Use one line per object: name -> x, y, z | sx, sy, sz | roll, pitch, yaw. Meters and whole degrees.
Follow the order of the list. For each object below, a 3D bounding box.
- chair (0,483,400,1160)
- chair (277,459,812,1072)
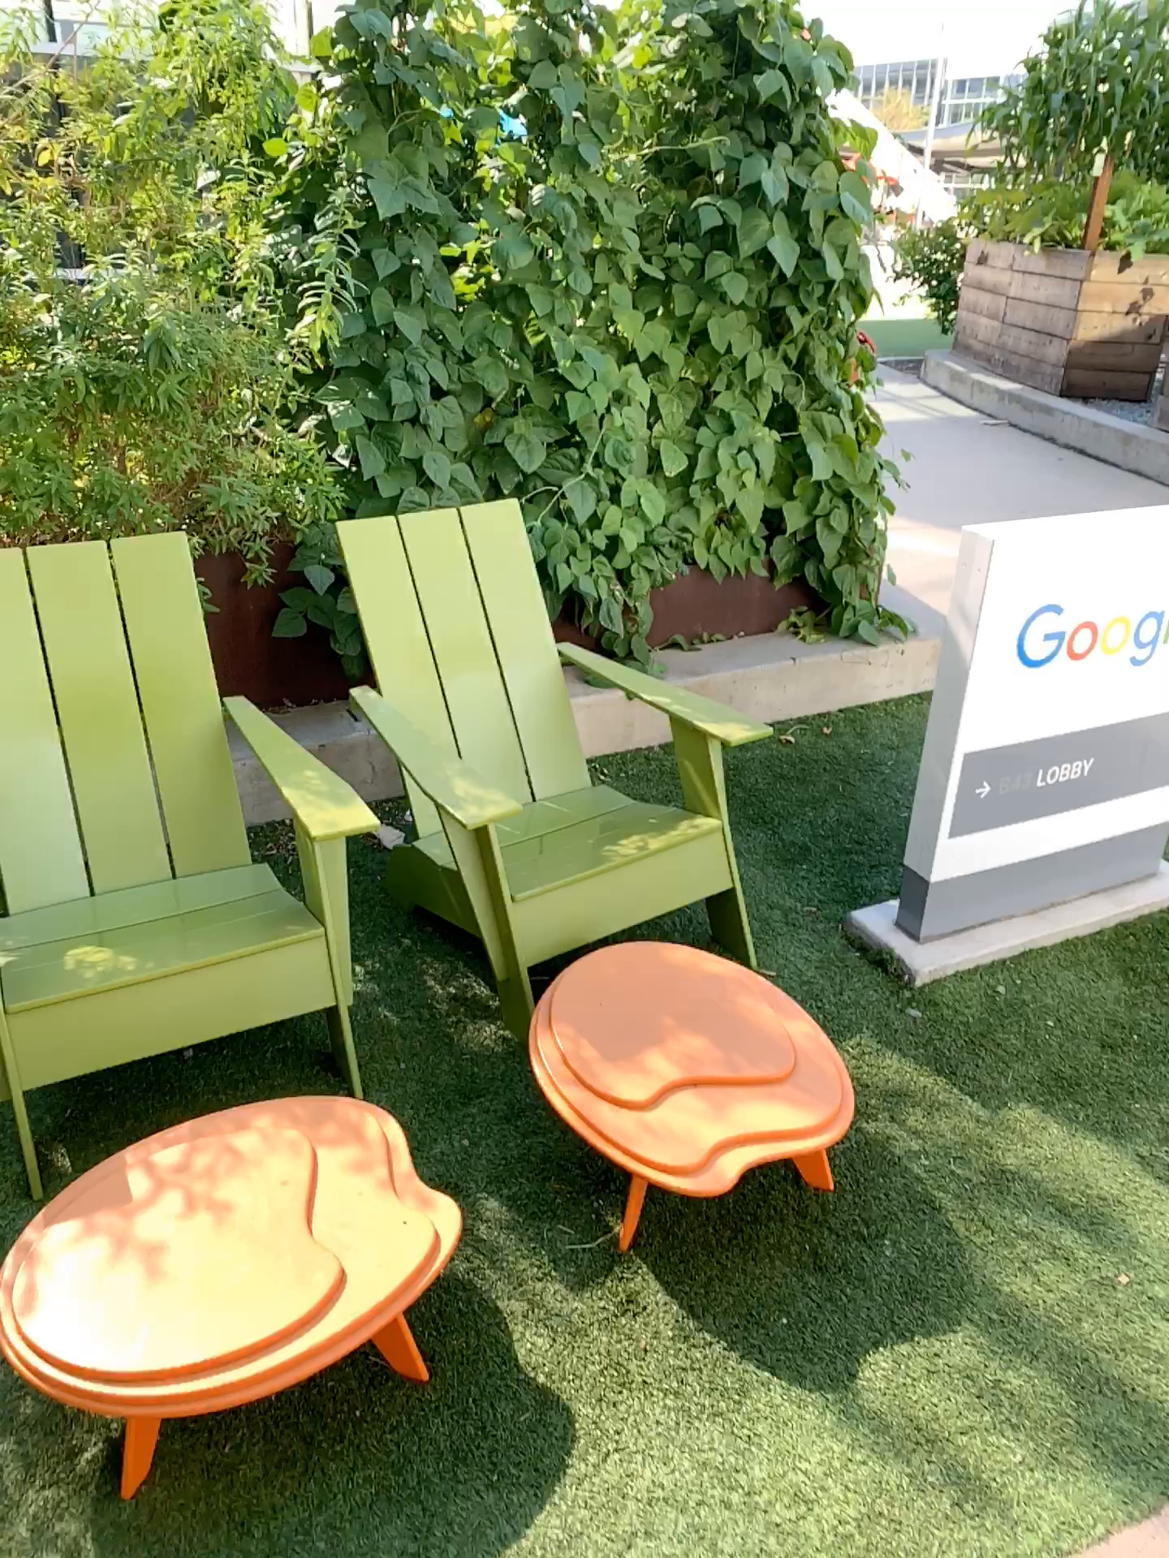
chair -> -0.922, -0.013, 2.344 | 0.770, 1.007, 0.822 | -12, 14, -25
chair -> -0.105, -0.098, 2.591 | 0.730, 1.017, 0.822 | -15, 15, -26
